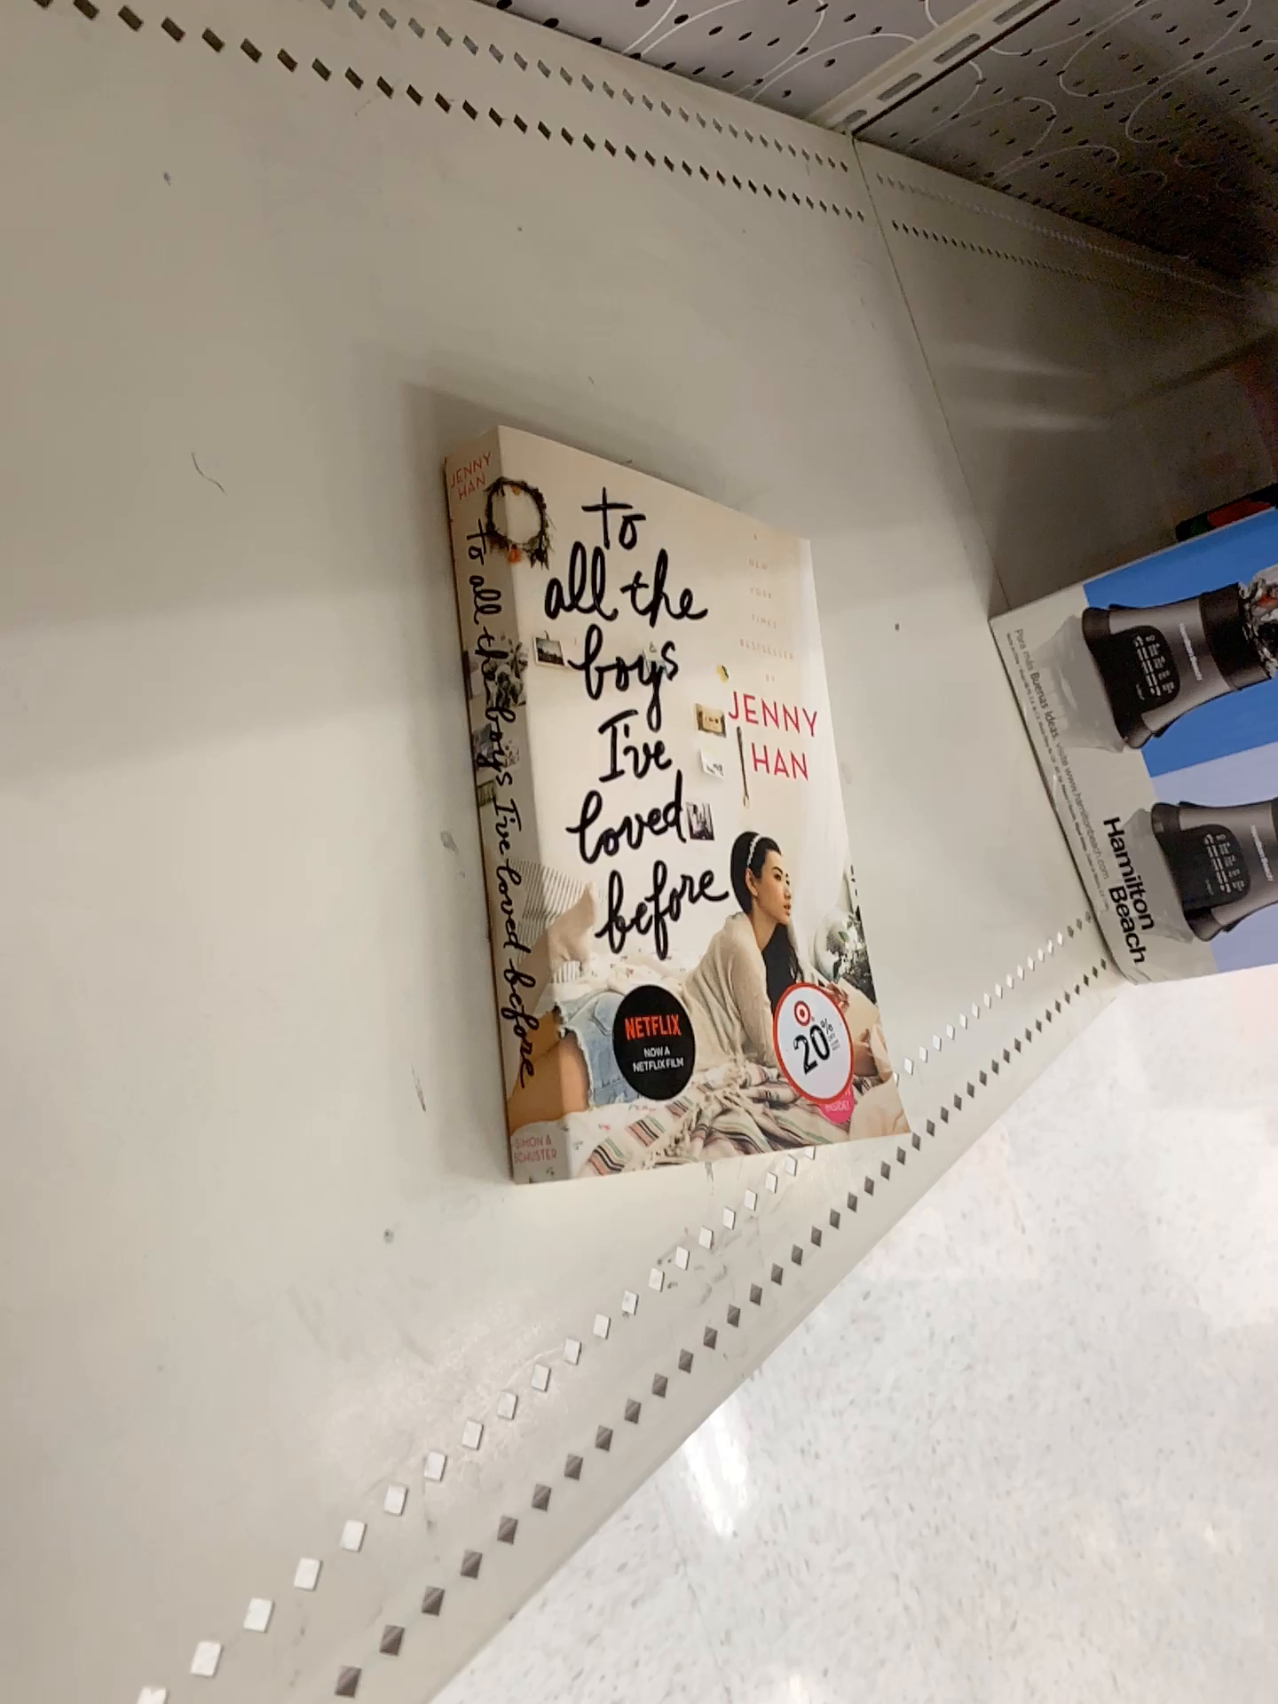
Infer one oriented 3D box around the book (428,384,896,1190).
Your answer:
[{"bbox_3d":[0.011,-0.015,0.404,0.144,0.034,0.213,6,74,-48],"label":"book"}]
